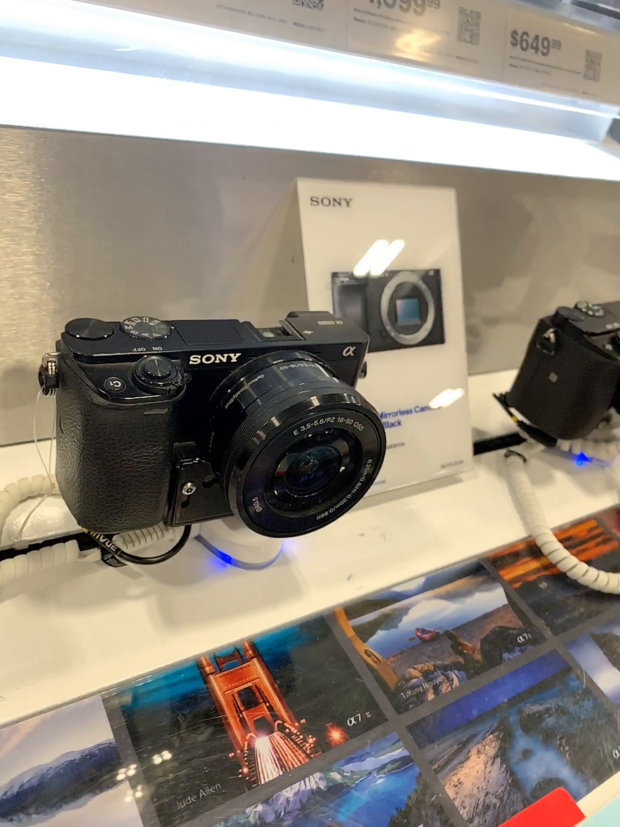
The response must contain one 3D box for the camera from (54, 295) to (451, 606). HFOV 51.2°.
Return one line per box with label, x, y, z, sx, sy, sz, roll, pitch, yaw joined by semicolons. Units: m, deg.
camera;-0.024;0.005;0.239;0.120;0.074;0.065;-8;35;-31
